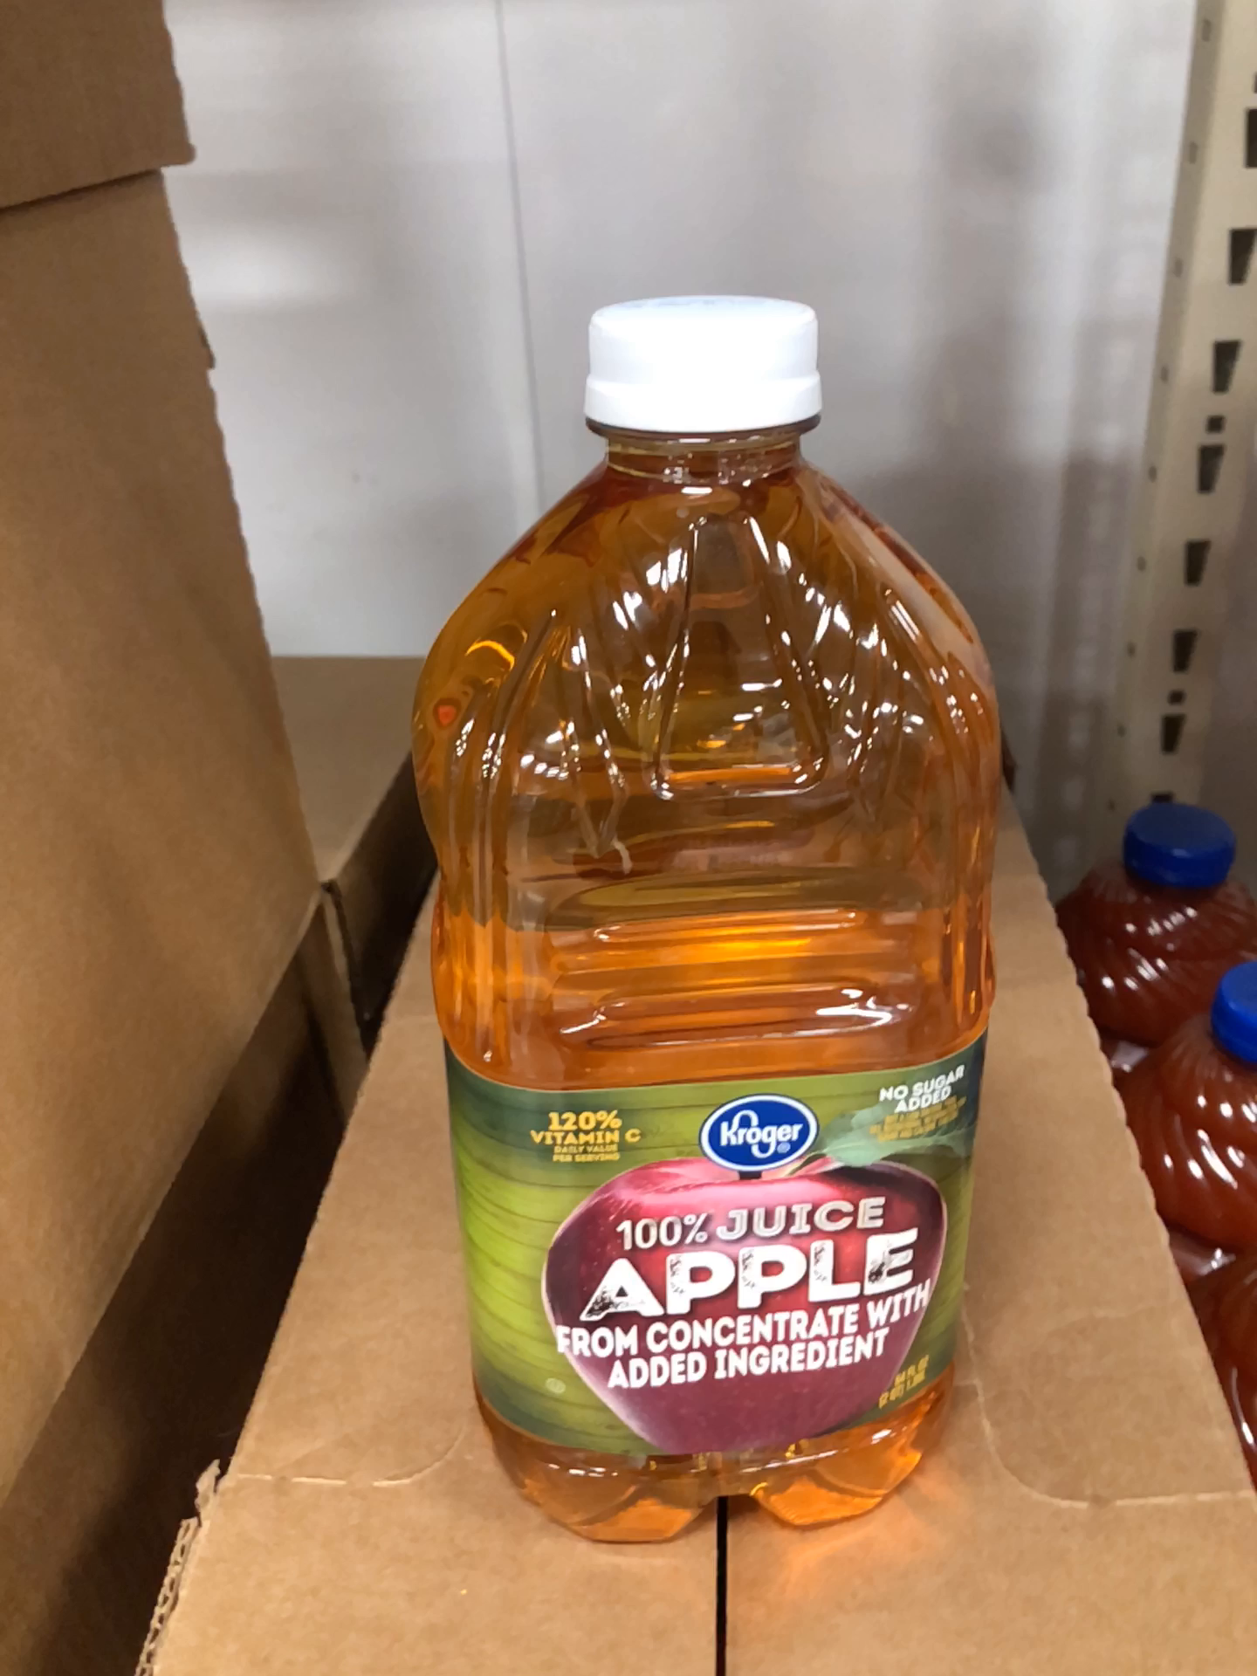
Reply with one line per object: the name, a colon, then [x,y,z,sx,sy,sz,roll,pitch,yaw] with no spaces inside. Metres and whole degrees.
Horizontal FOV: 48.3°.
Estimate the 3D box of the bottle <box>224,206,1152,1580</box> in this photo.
bottle: [0.013,0.021,0.289,0.120,0.259,0.100,-5,30,-1]
